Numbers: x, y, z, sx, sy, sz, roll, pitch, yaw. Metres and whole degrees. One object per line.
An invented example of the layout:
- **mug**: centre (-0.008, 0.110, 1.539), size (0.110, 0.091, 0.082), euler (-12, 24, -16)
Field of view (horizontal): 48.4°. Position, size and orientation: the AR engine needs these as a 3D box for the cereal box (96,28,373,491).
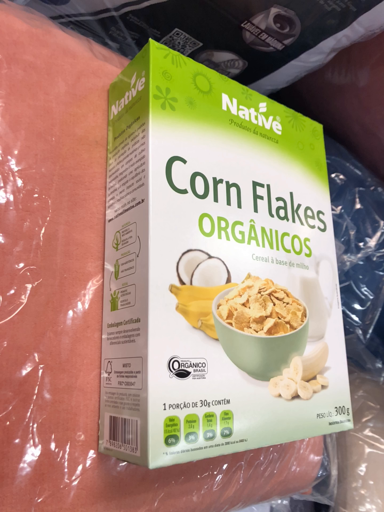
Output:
- **cereal box**: centre (0.034, 0.004, 0.293), size (0.181, 0.060, 0.240), euler (10, 72, -38)
